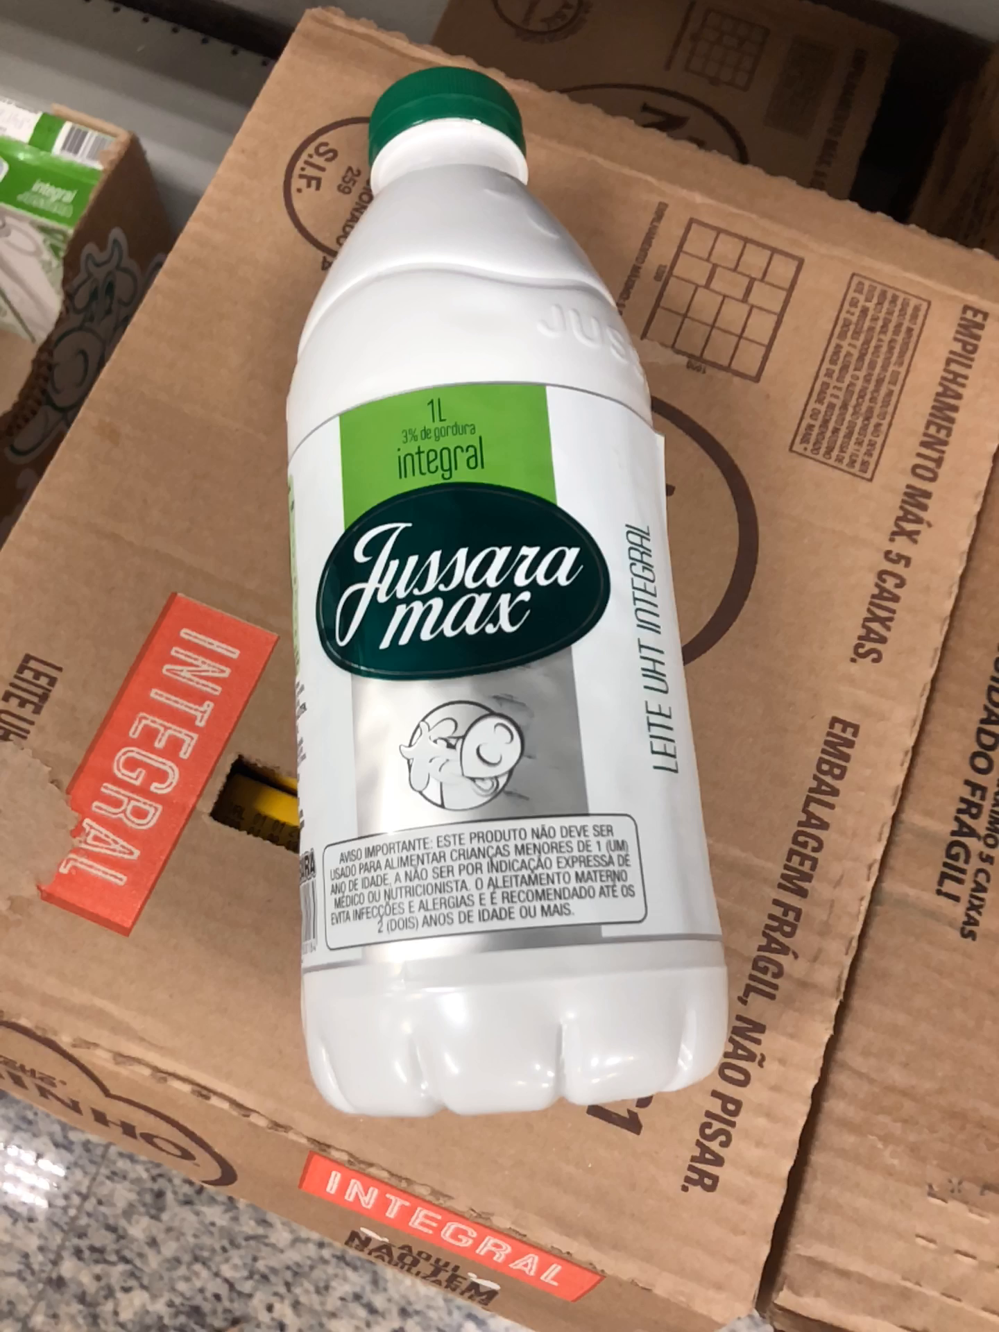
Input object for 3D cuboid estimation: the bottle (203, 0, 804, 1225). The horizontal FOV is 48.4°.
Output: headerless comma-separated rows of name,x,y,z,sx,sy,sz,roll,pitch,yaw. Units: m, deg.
bottle,-0.005,-0.028,0.227,0.090,0.060,0.240,-4,80,-2
